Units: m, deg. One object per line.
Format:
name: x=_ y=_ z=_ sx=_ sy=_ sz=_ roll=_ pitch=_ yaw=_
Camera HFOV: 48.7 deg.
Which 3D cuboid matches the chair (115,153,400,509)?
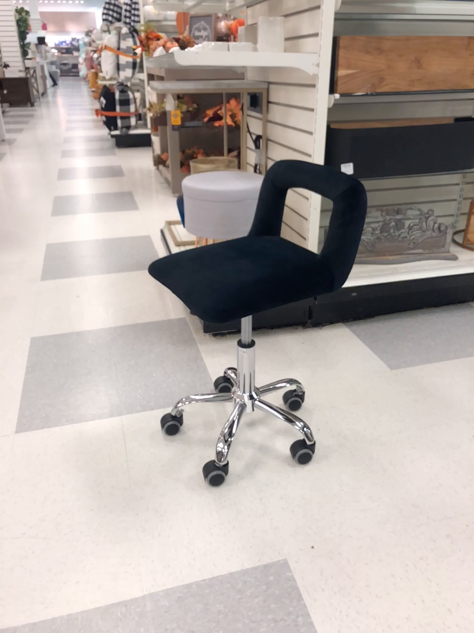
chair: x=0.031 y=-0.011 z=1.354 sx=0.485 sy=0.694 sz=0.463 roll=-15 pitch=29 yaw=-27
